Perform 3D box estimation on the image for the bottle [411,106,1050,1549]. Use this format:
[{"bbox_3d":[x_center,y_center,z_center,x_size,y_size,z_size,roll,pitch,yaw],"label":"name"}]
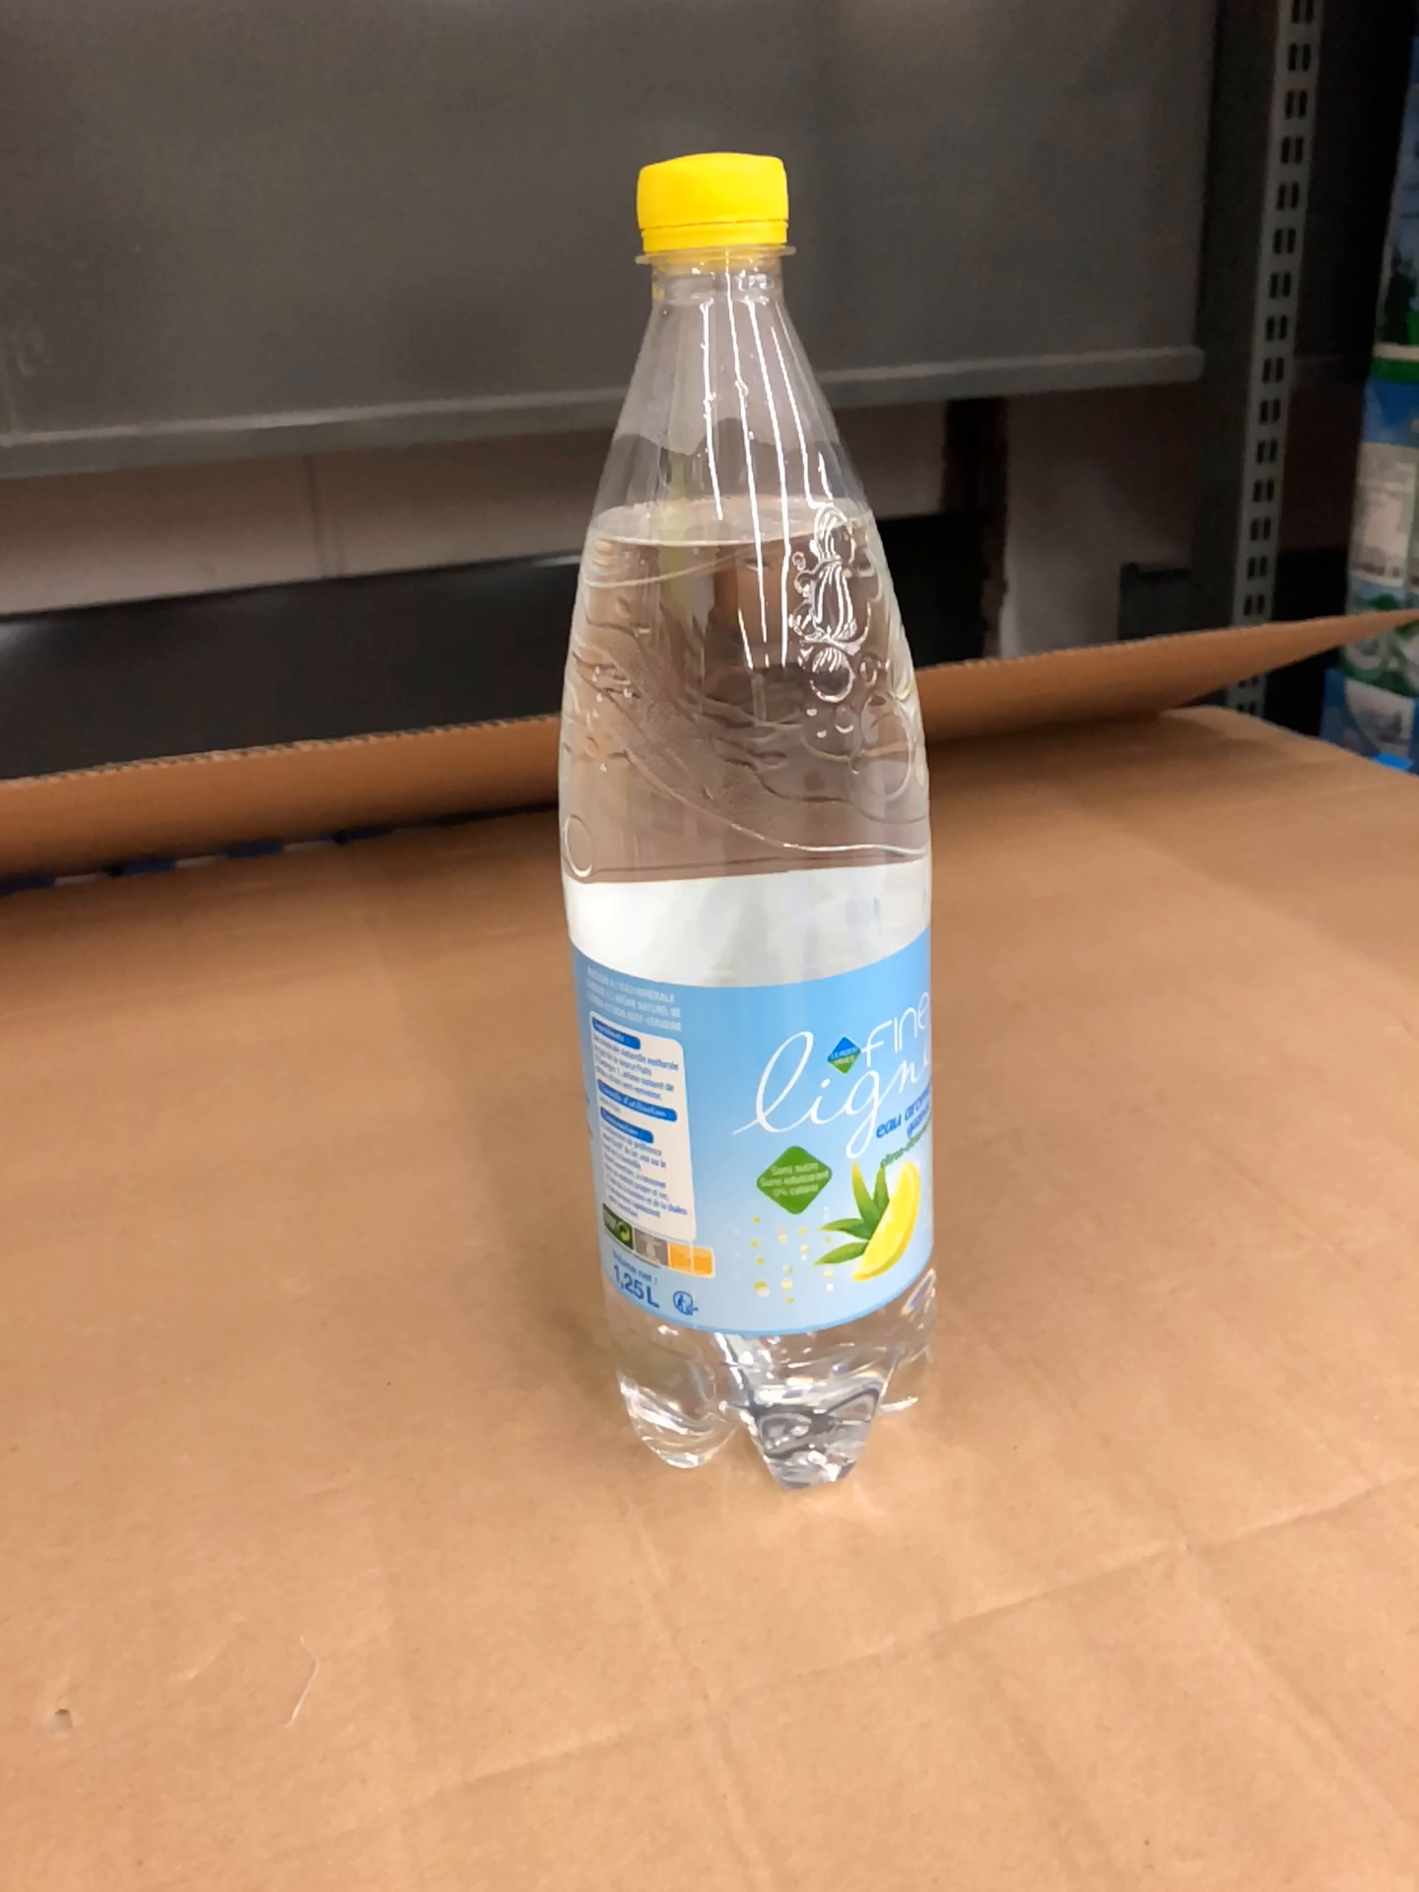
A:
[{"bbox_3d":[0.011,-0.021,0.352,0.090,0.289,0.080,-22,29,-37],"label":"bottle"}]
